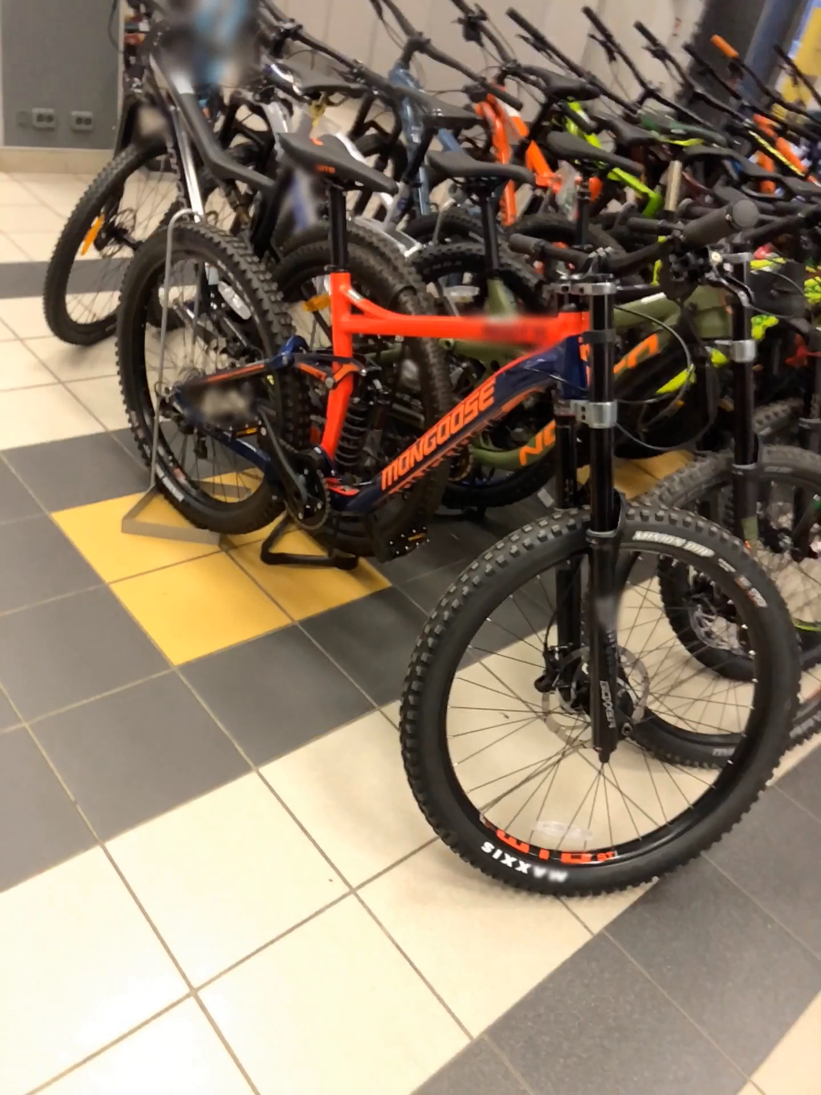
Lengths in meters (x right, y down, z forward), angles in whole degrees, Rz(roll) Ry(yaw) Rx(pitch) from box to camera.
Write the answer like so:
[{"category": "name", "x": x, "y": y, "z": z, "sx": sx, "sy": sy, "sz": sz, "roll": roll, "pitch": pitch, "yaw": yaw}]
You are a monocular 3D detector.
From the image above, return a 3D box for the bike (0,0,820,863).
[{"category": "bike", "x": 0.062, "y": -0.385, "z": 1.809, "sx": 1.700, "sy": 1.108, "sz": 0.803, "roll": 30, "pitch": 36, "yaw": 26}]
